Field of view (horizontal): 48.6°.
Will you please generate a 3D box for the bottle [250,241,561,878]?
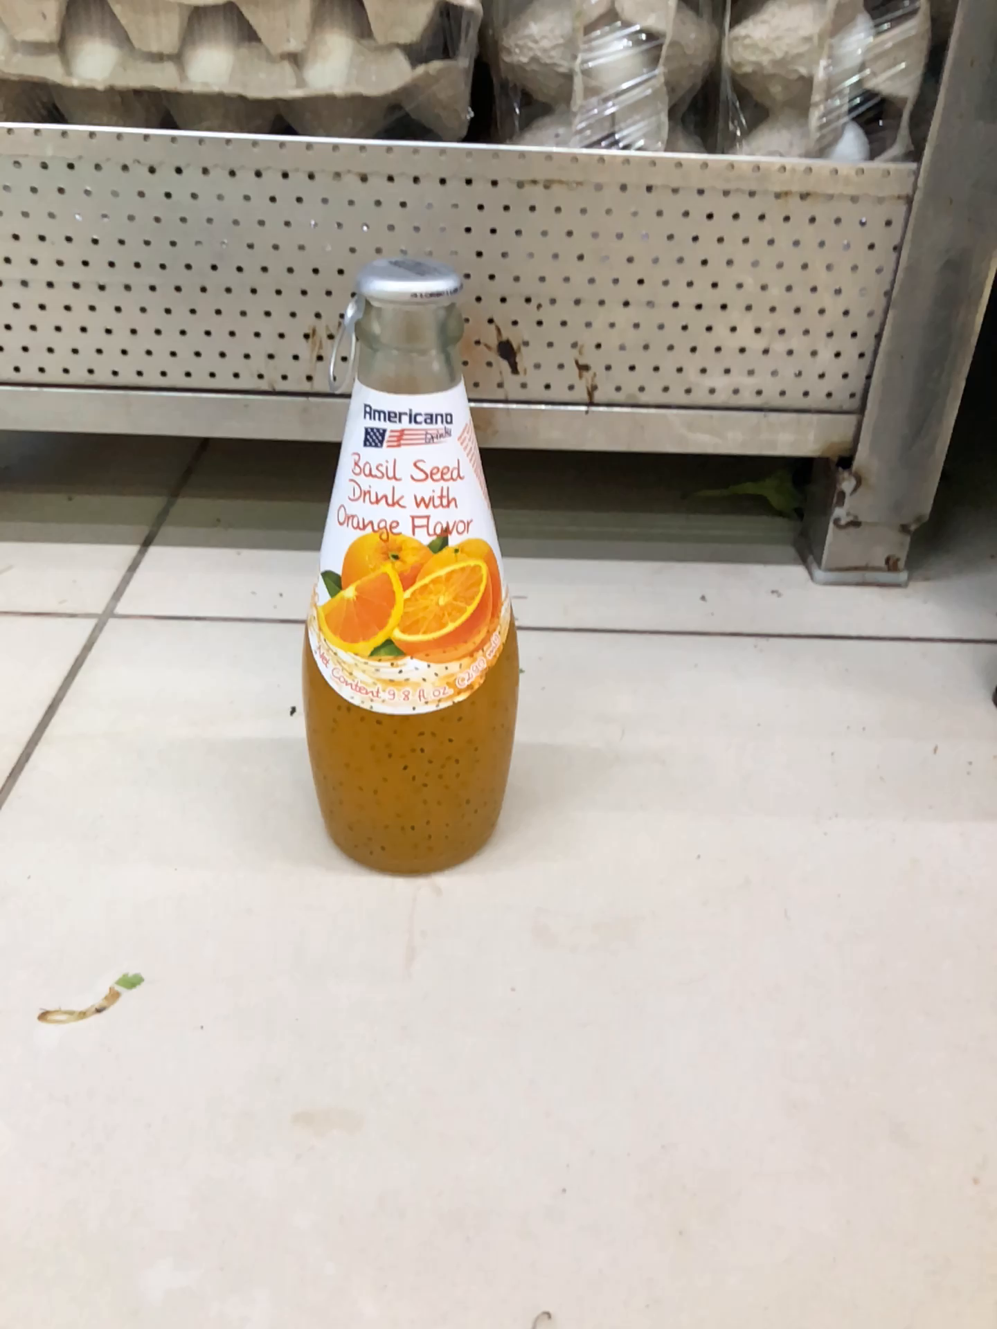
[{"bbox_3d":[-0.027,-0.028,0.323,0.070,0.169,0.070,1,31,-1],"label":"bottle"}]
